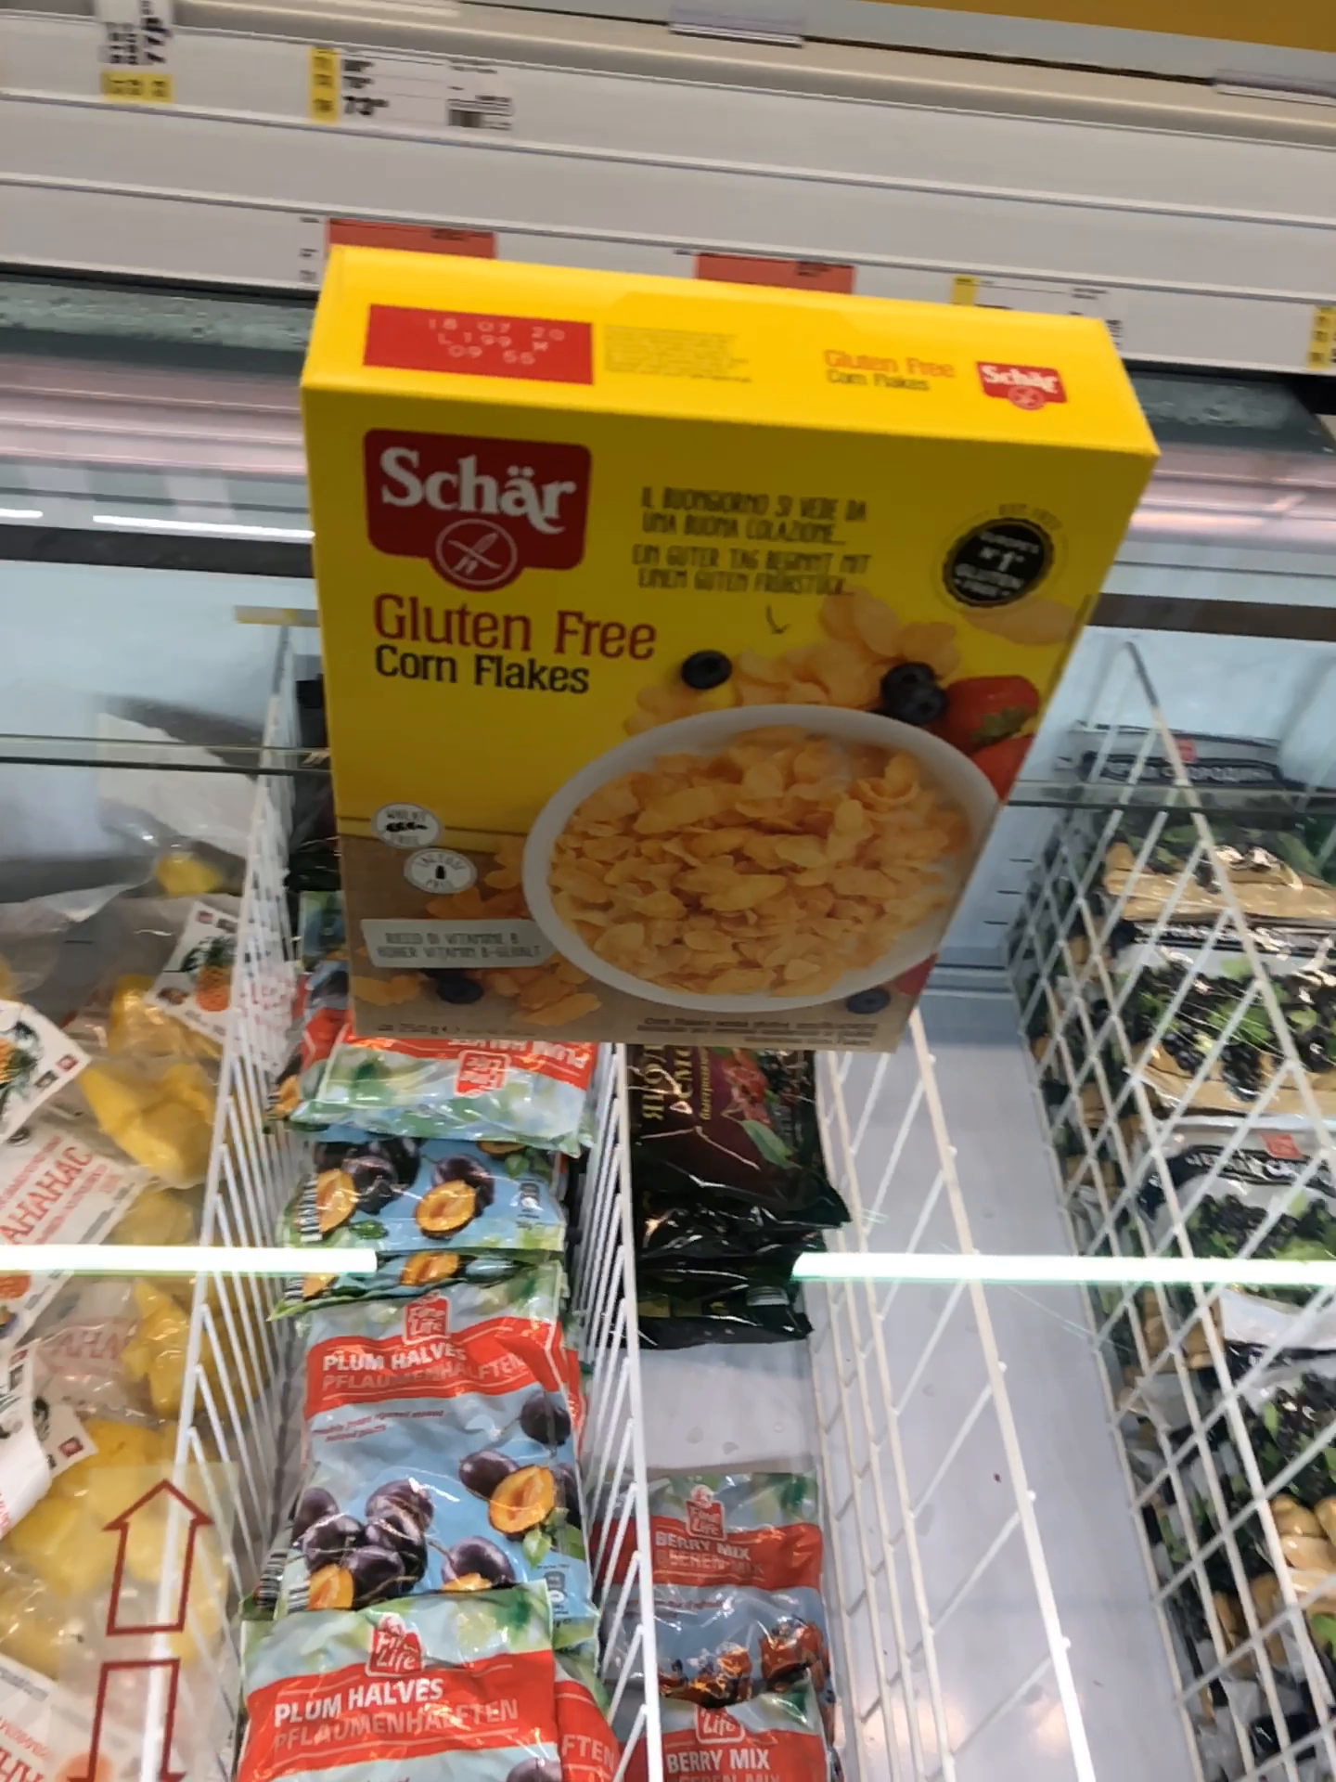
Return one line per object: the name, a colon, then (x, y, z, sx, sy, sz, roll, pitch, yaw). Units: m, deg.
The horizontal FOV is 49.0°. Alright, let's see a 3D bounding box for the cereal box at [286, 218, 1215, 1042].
cereal box: (0.006, -0.051, 0.421, 0.200, 0.238, 0.060, 2, 50, -7)
